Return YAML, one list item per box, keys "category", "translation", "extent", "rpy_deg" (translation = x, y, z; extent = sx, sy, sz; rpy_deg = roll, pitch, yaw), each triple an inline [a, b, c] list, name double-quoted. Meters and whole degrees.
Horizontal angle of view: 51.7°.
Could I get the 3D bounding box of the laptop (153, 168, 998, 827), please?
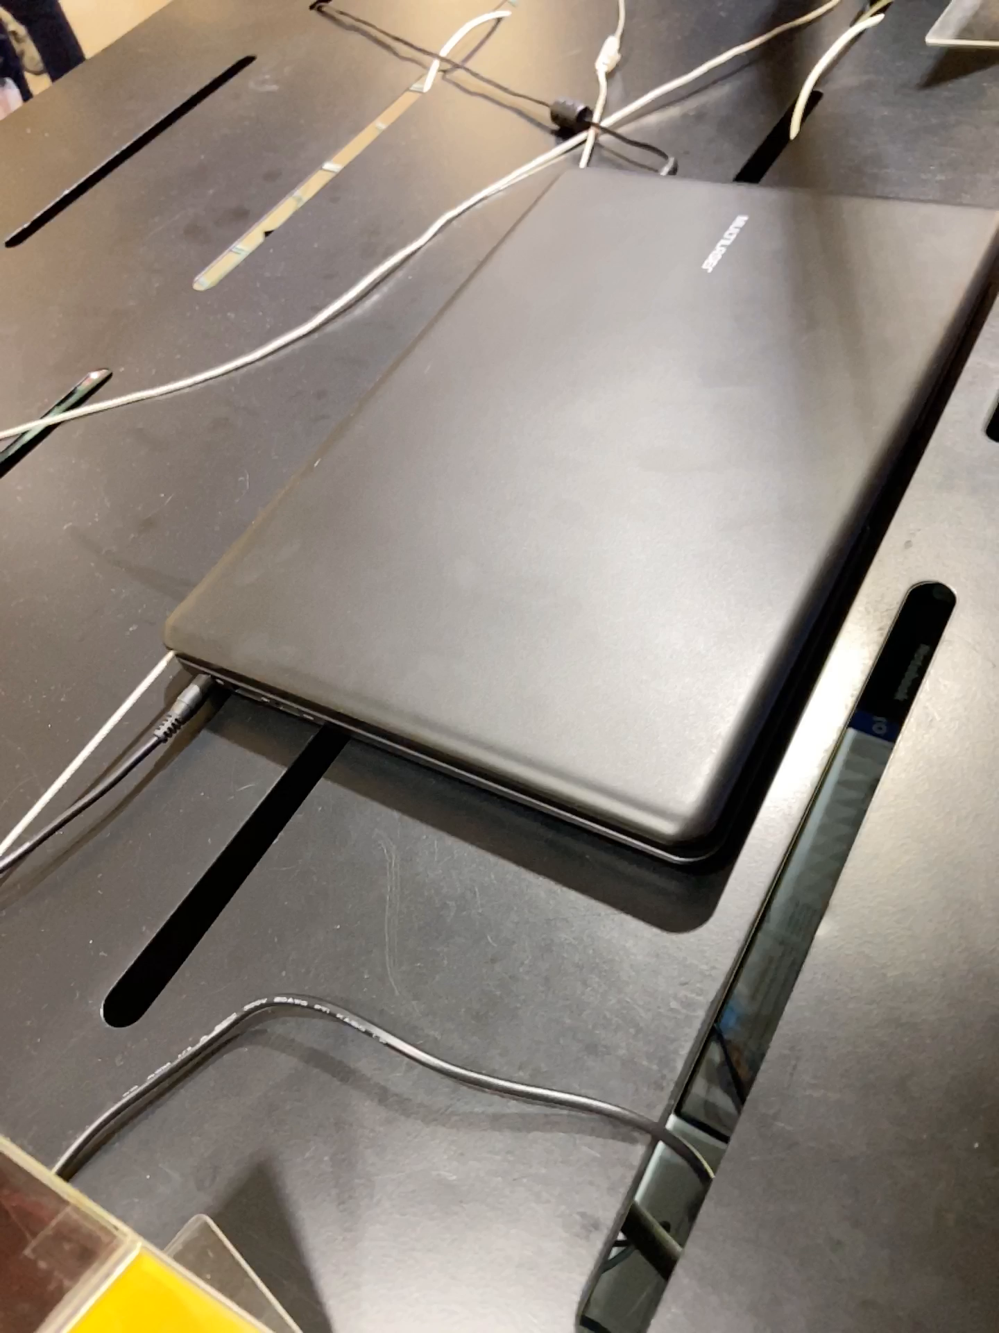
- category: "laptop"
  translation: [0.044, -0.105, 0.400]
  extent: [0.211, 0.001, 0.325]
  rpy_deg: [18, 58, 26]
